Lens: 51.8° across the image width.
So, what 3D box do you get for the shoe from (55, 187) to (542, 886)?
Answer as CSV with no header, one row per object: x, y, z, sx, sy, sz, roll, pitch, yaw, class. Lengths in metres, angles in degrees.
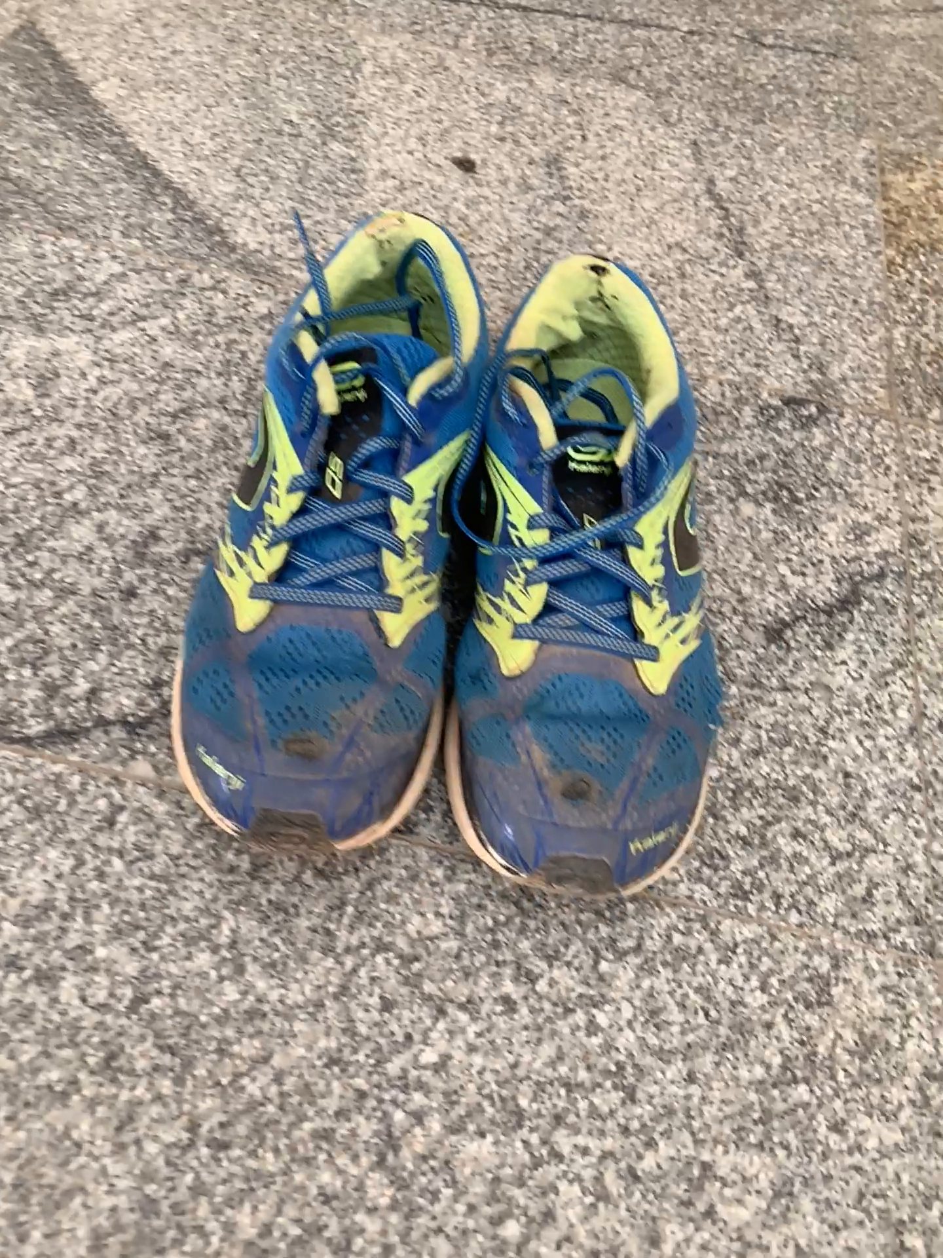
-0.044,-0.058,0.379,0.110,0.060,0.292,8,55,2,shoe

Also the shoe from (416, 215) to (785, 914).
0.049,-0.046,0.373,0.100,0.060,0.292,0,54,8,shoe
